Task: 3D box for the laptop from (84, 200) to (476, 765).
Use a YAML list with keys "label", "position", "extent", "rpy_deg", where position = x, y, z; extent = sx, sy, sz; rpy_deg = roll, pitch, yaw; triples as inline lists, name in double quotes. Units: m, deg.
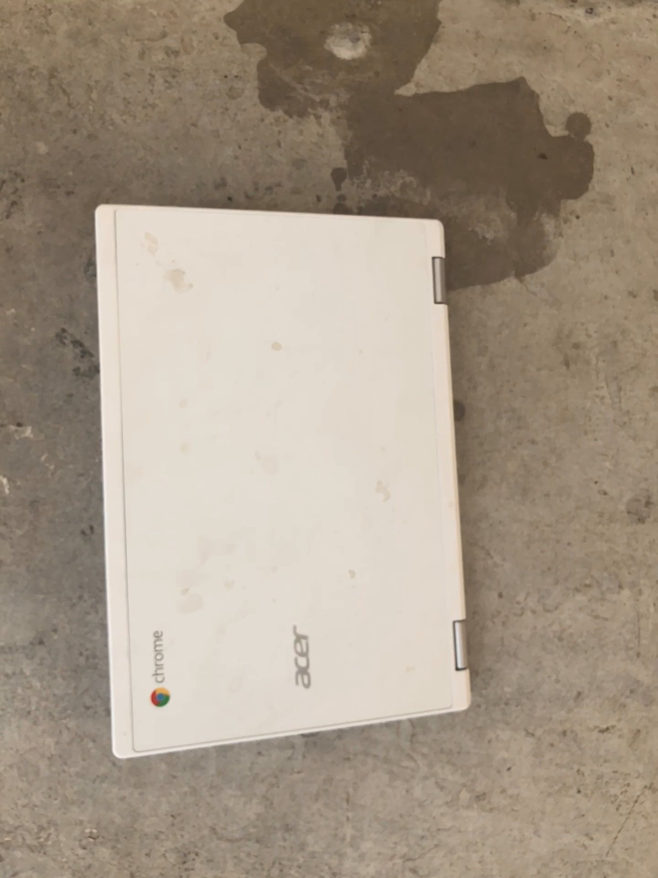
- label: "laptop"
  position: [-0.026, 0.016, 0.397]
  extent: [0.190, 0.046, 0.278]
  rpy_deg: [-2, 87, -7]
